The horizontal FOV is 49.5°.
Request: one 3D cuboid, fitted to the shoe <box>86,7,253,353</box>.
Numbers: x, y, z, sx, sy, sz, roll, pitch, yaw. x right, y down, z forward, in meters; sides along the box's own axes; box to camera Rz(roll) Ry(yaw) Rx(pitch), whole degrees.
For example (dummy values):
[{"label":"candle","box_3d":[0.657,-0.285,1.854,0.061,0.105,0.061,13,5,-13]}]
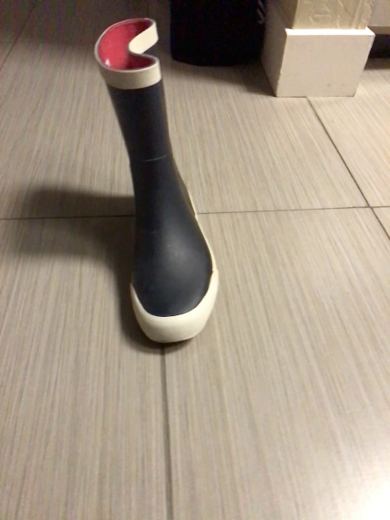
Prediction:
[{"label":"shoe","box_3d":[-0.031,-0.090,0.431,0.102,0.216,0.280,-6,47,-4]}]
